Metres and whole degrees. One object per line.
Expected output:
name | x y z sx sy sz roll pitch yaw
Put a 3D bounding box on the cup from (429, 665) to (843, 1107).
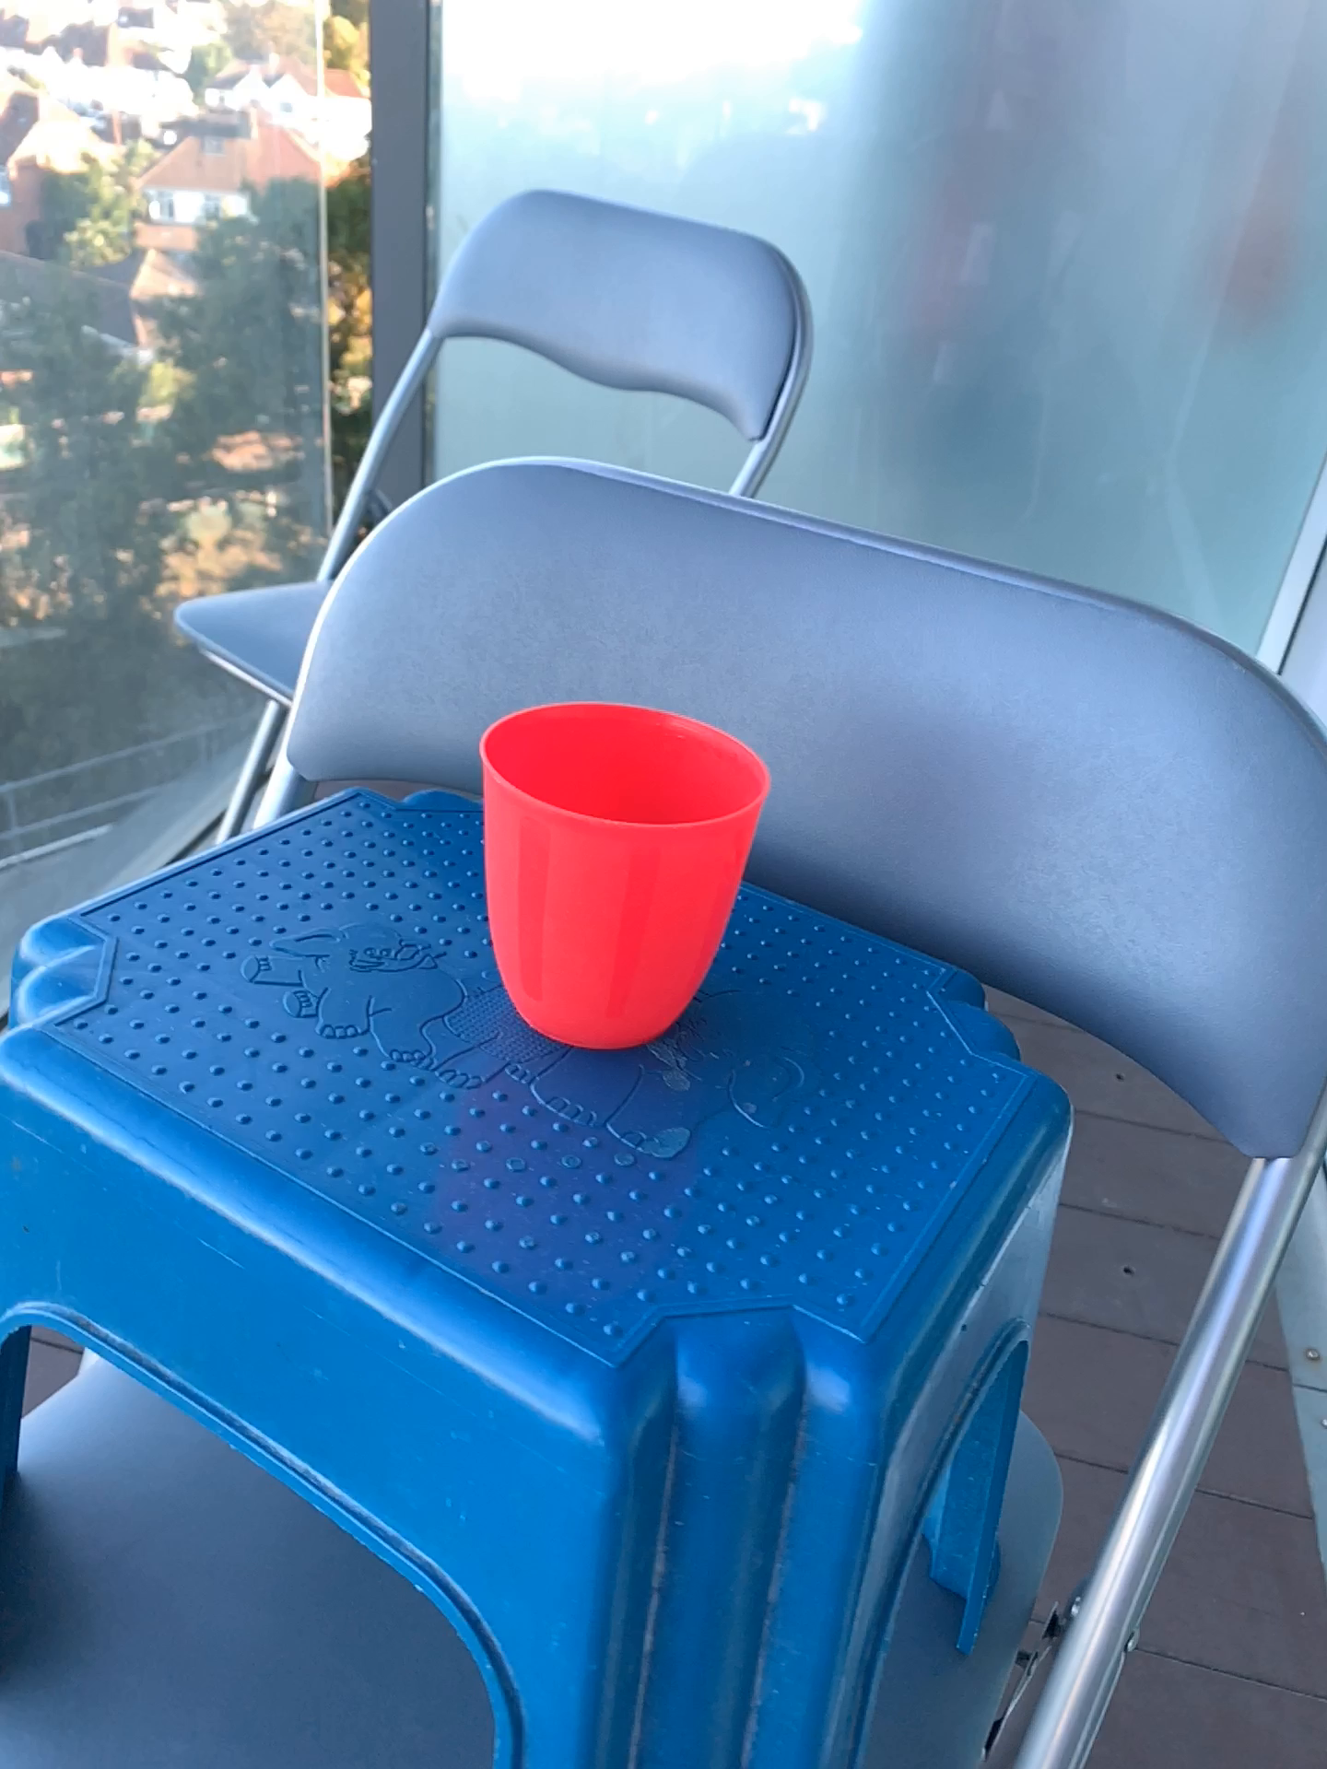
cup | -0.009 -0.004 0.390 0.086 0.077 0.074 23 36 24
